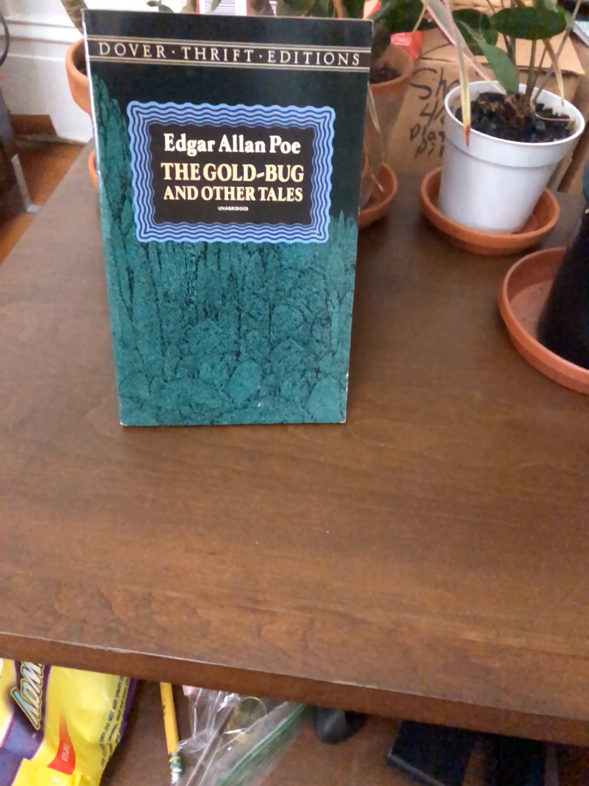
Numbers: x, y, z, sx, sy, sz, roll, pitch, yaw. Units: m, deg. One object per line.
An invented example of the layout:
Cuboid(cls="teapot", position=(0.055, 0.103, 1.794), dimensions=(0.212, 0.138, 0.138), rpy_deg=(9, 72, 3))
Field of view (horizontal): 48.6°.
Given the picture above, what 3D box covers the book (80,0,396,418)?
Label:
Cuboid(cls="book", position=(-0.027, -0.086, 0.342), dimensions=(0.140, 0.209, 0.020), rpy_deg=(-1, 24, -5))
